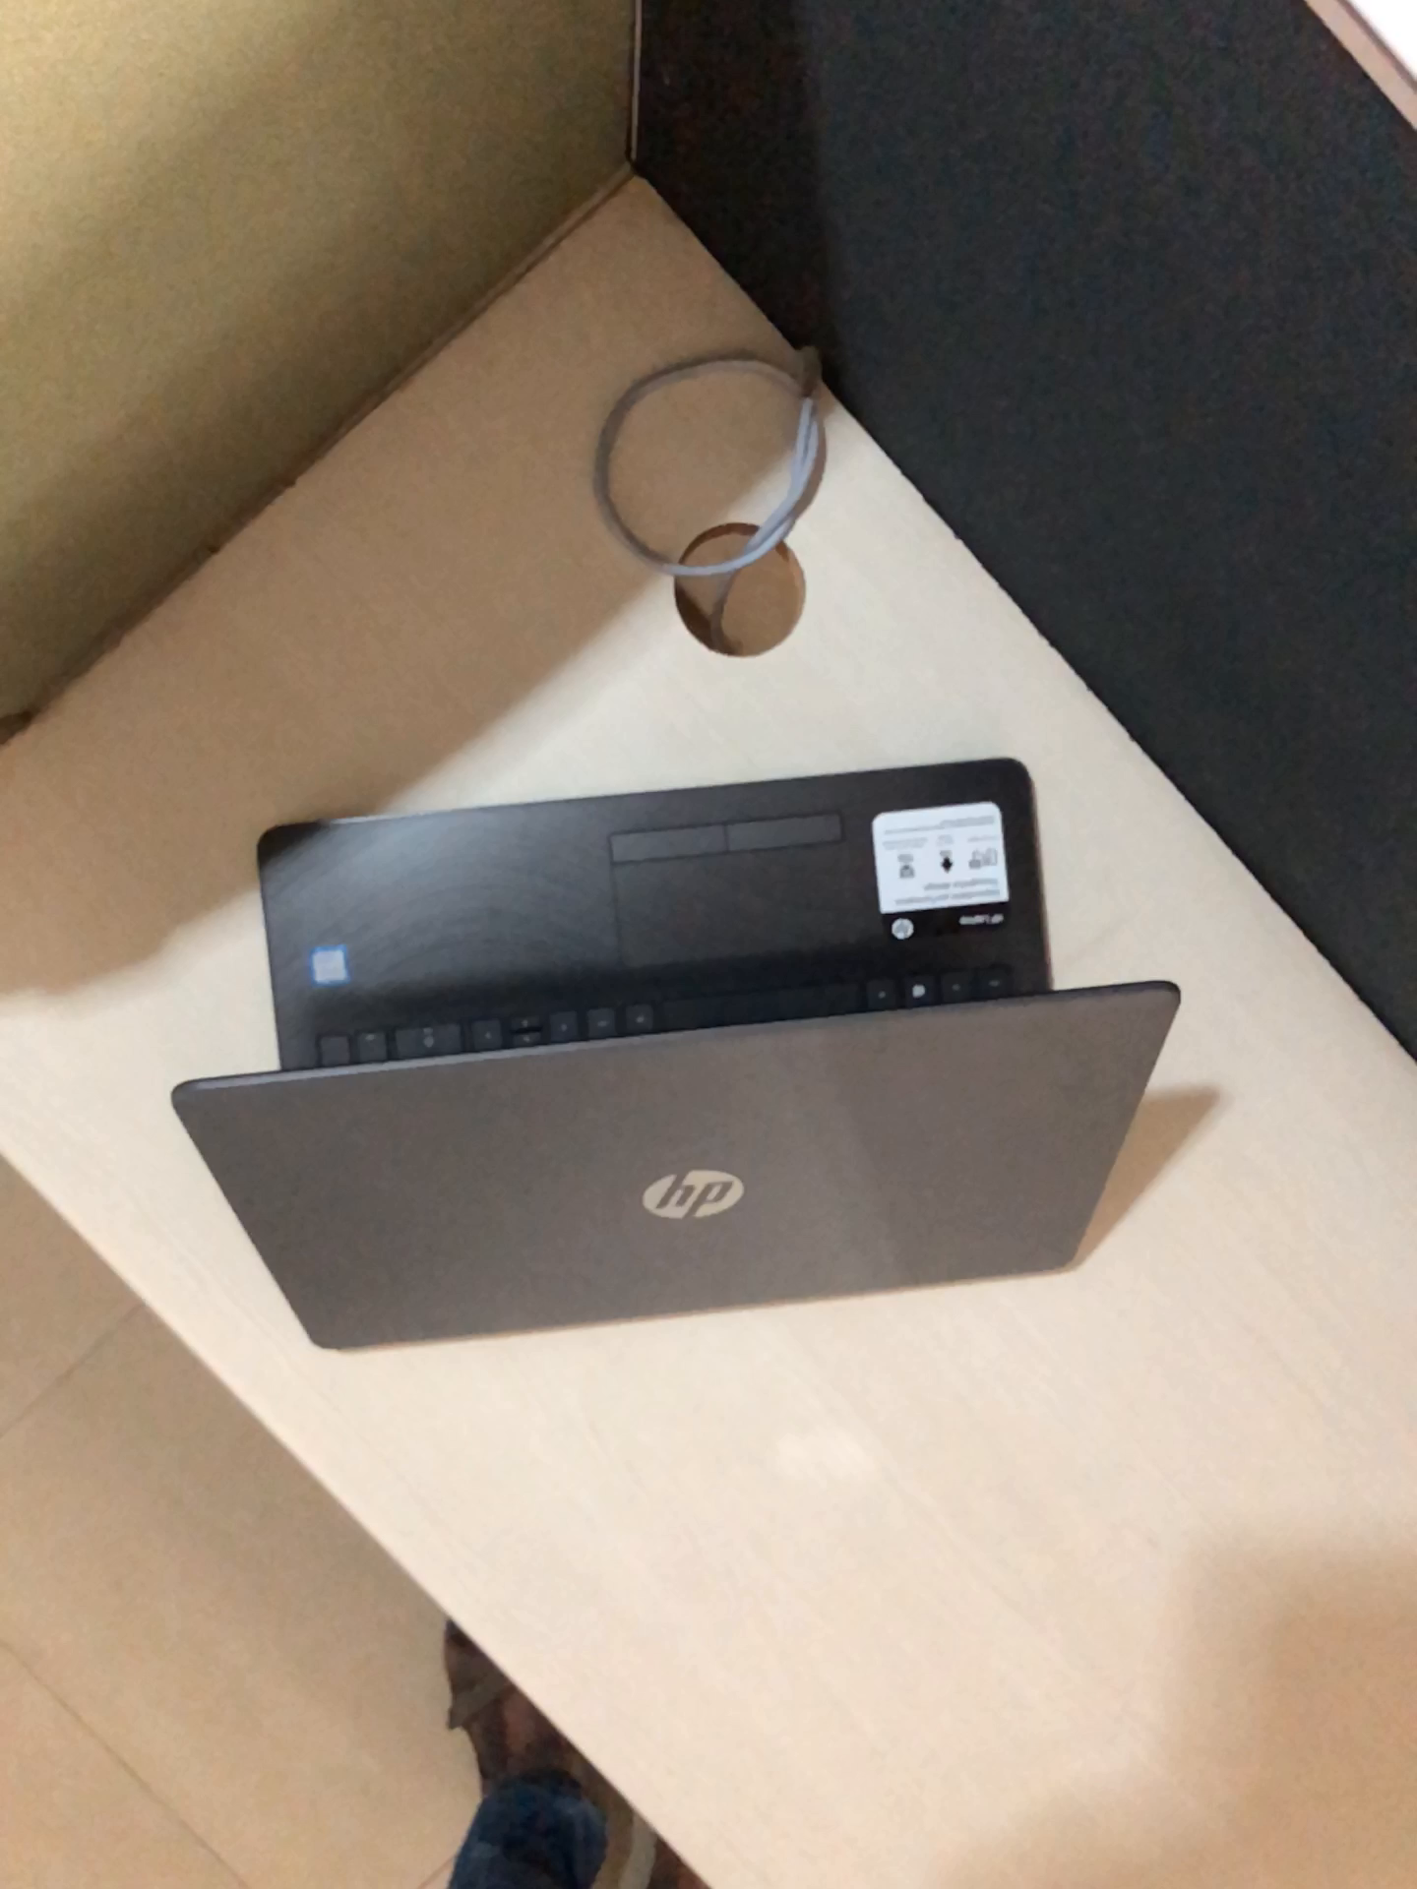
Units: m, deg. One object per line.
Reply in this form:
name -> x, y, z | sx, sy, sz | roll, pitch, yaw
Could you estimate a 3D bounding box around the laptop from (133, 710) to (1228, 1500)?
laptop -> -0.010, 0.054, 0.651 | 0.361, 0.205, 0.246 | -5, 94, -2
